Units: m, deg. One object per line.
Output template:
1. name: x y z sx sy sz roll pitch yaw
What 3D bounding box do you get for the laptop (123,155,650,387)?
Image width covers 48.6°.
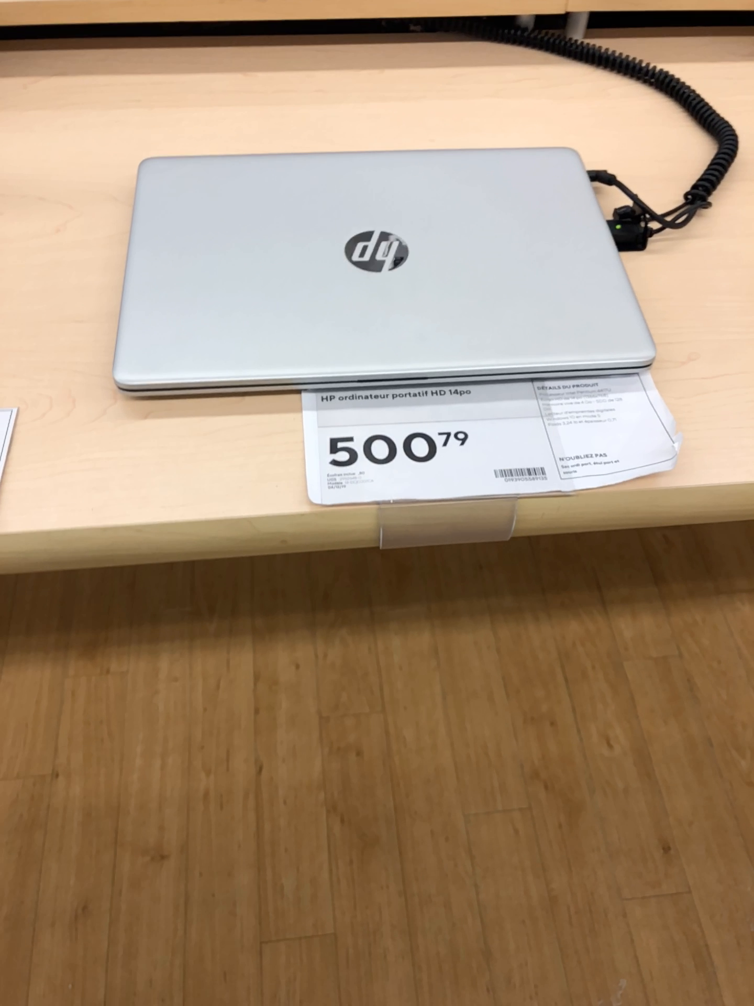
1. laptop: 0.002 -0.162 0.543 0.309 0.004 0.206 -4 56 -7
